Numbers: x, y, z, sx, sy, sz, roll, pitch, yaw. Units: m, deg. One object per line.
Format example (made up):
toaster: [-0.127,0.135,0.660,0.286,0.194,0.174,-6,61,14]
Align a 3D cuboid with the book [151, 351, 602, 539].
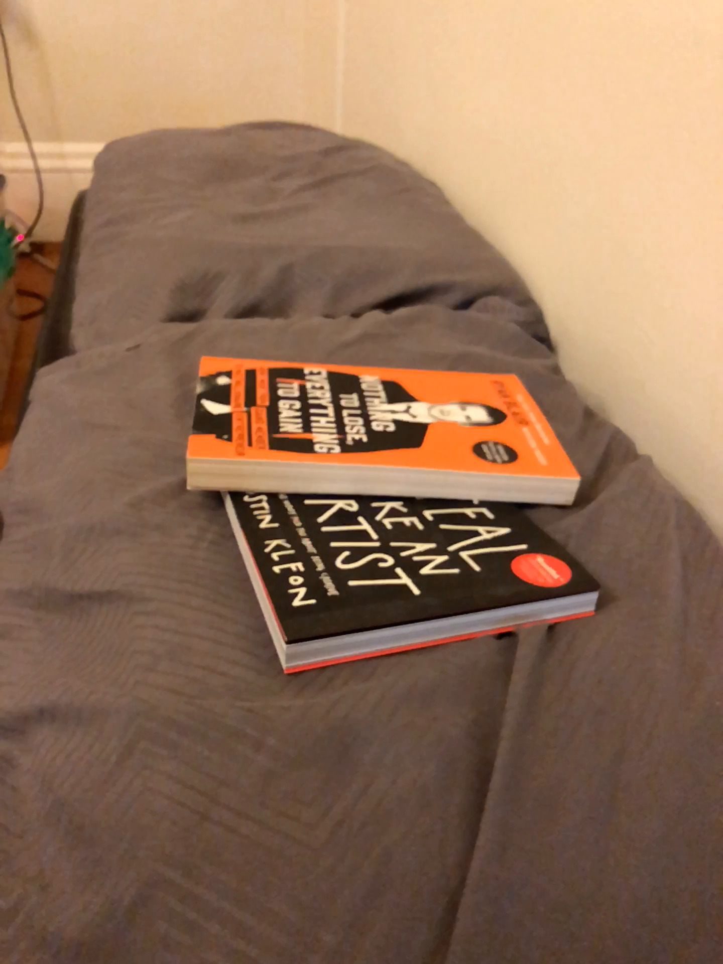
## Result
book: [0.001,-0.029,0.481,0.230,0.020,0.171,0,35,-9]

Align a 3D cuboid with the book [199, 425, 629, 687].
book: [0.018,0.024,0.407,0.170,0.020,0.151,-7,36,-20]
